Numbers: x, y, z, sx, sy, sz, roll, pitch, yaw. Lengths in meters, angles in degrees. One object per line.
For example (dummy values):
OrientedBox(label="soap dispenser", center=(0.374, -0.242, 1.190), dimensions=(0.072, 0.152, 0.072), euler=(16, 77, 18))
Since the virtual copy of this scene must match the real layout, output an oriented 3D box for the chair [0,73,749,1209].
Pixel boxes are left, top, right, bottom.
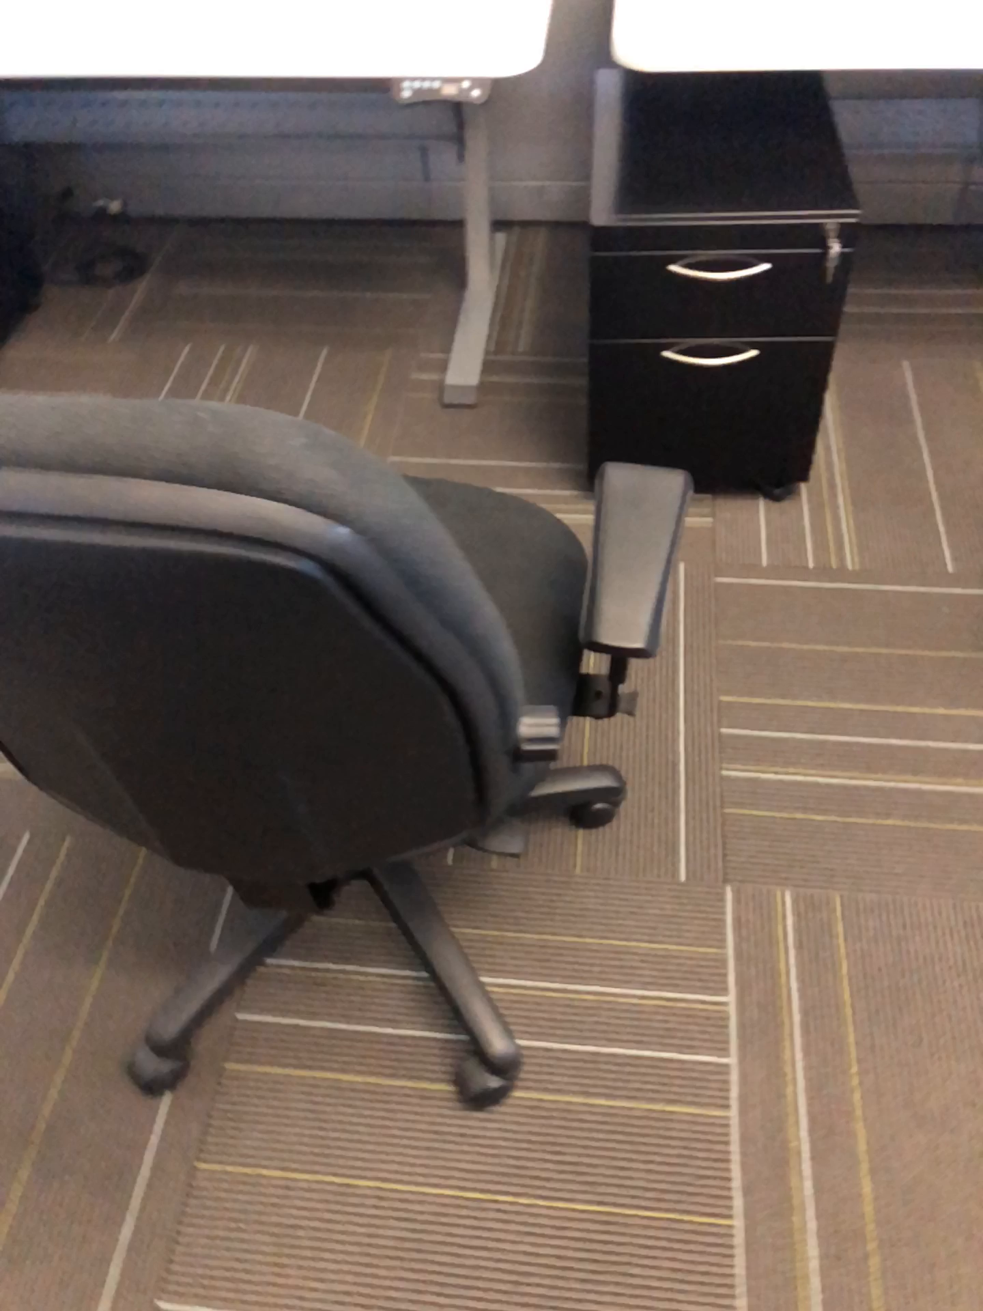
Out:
OrientedBox(label="chair", center=(-0.182, 0.036, 1.145), dimensions=(0.740, 0.956, 0.683), euler=(3, 49, 6))
